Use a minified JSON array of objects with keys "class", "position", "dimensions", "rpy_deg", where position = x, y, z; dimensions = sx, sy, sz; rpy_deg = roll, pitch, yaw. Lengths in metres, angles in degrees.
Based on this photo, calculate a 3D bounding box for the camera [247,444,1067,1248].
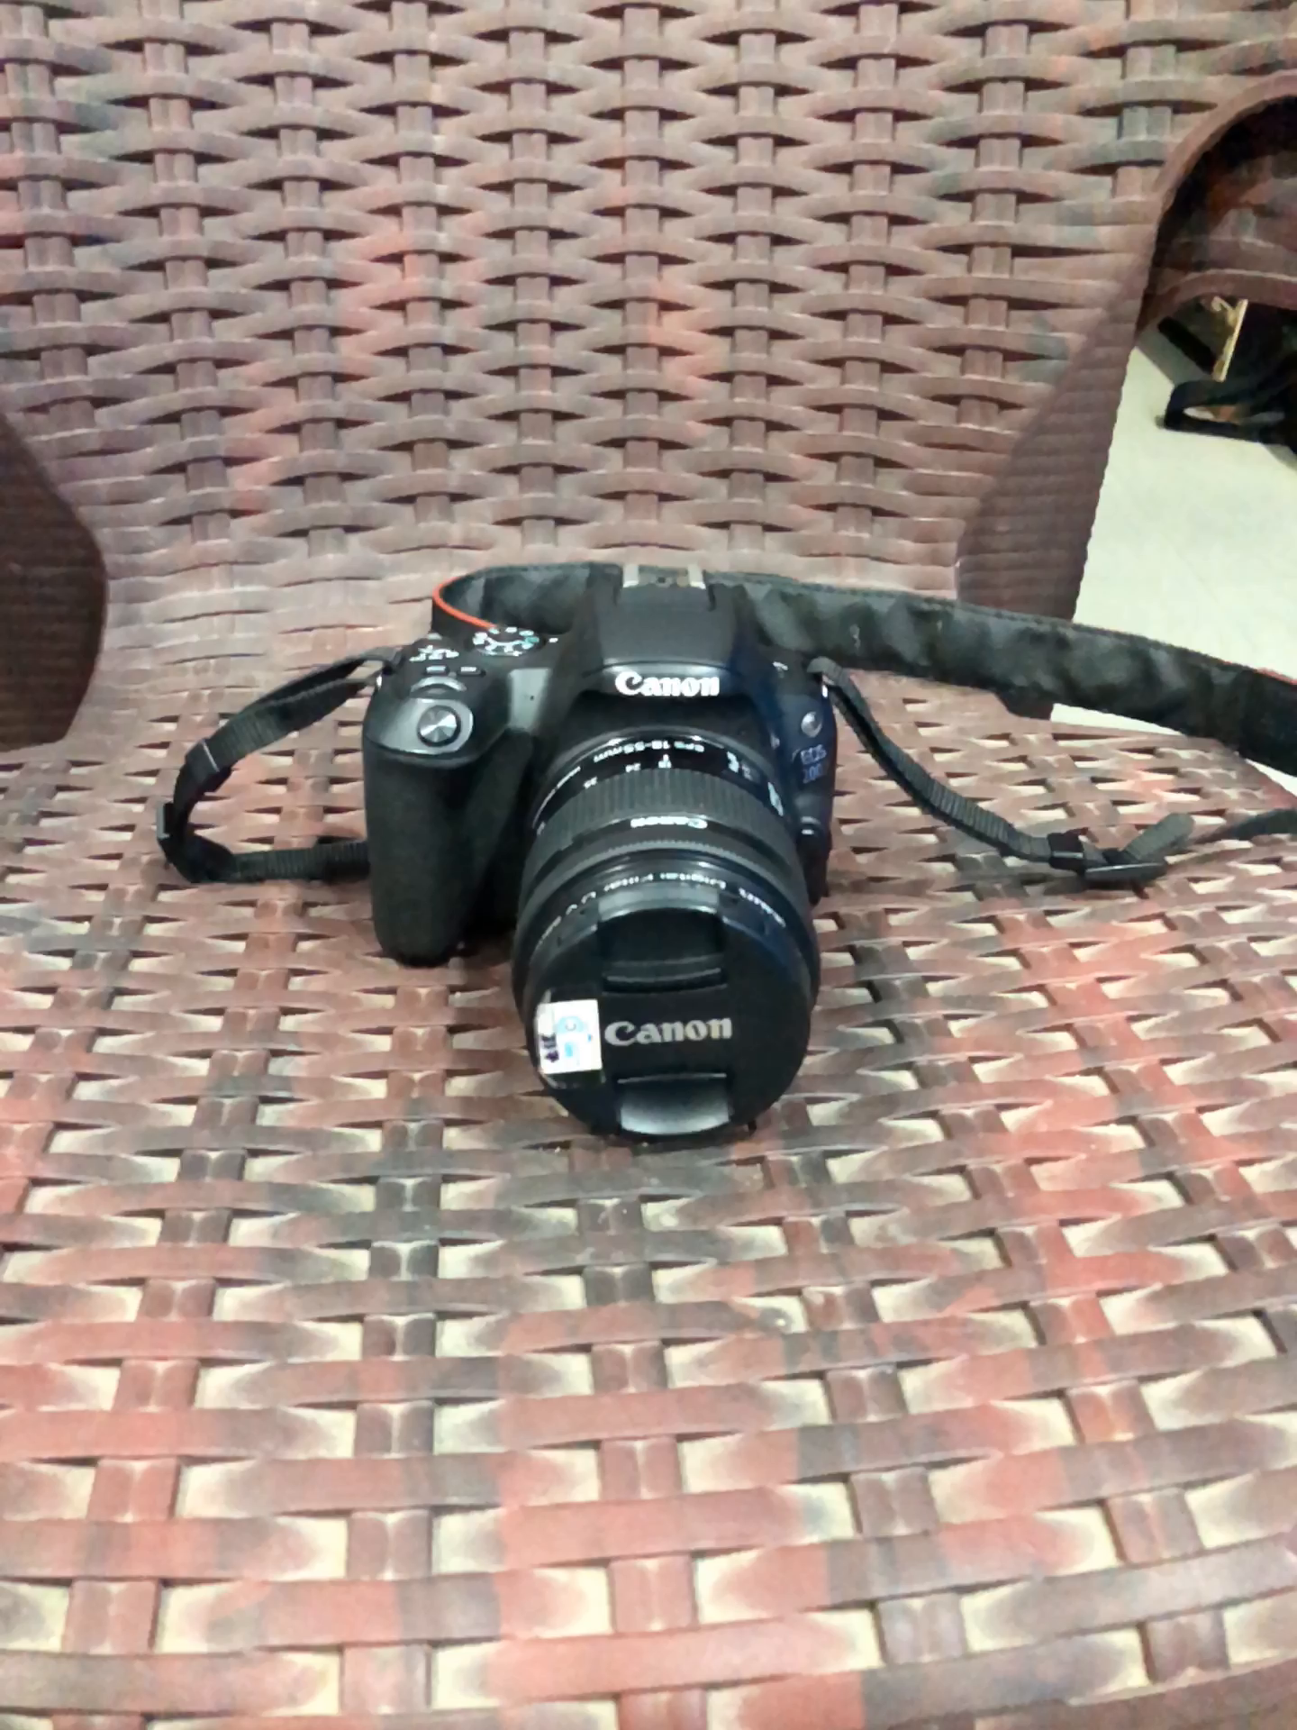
[{"class":"camera","position":[-0.002,-0.013,0.345],"dimensions":[0.140,0.109,0.171],"rpy_deg":[1,39,-2]}]
